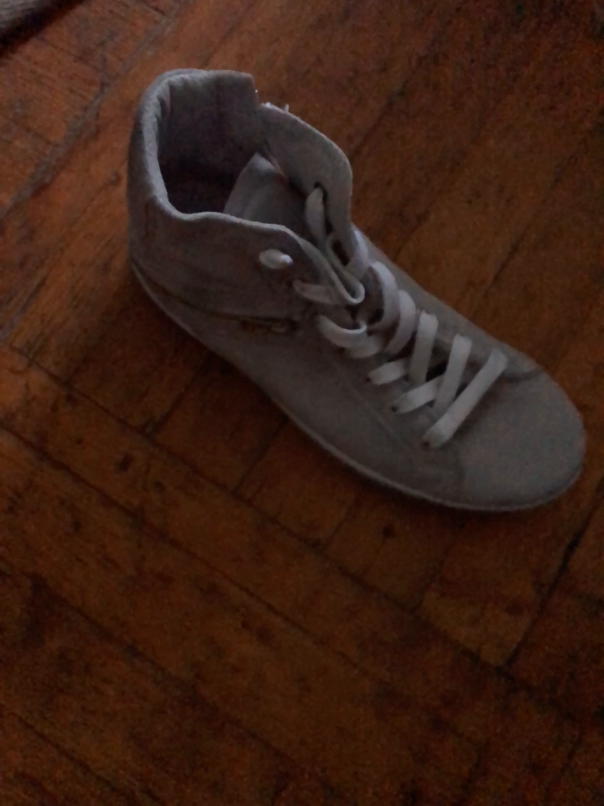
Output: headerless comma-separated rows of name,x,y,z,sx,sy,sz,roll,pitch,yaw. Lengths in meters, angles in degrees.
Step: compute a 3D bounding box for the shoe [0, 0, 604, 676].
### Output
shoe,0.035,-0.035,0.361,0.310,0.220,0.130,37,85,7
